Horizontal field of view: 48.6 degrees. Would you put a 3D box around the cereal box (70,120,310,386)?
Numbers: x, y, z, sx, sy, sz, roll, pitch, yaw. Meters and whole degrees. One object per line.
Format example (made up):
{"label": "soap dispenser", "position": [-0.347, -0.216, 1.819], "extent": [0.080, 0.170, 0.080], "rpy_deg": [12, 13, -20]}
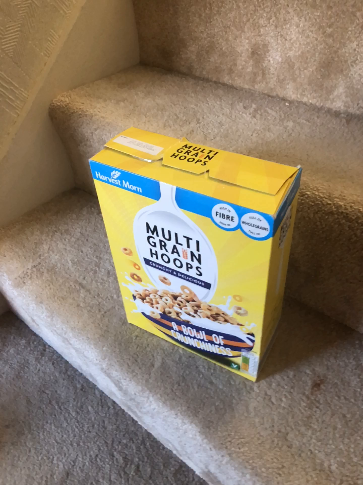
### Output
{"label": "cereal box", "position": [0.012, 0.017, 0.450], "extent": [0.200, 0.248, 0.090], "rpy_deg": [20, 48, 24]}
